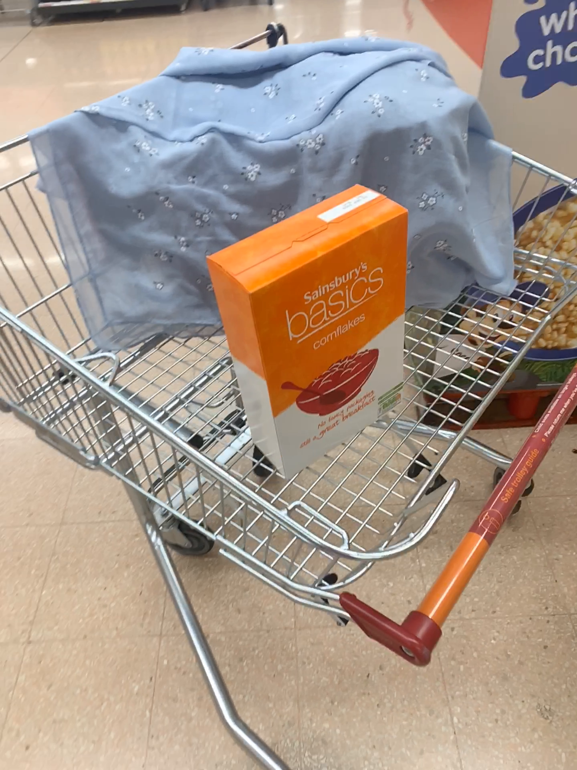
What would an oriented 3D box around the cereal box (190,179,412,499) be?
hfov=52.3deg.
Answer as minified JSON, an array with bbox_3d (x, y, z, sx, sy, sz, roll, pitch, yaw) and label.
[{"bbox_3d":[0.033,-0.041,0.676,0.211,0.307,0.081,-31,48,-20],"label":"cereal box"}]
